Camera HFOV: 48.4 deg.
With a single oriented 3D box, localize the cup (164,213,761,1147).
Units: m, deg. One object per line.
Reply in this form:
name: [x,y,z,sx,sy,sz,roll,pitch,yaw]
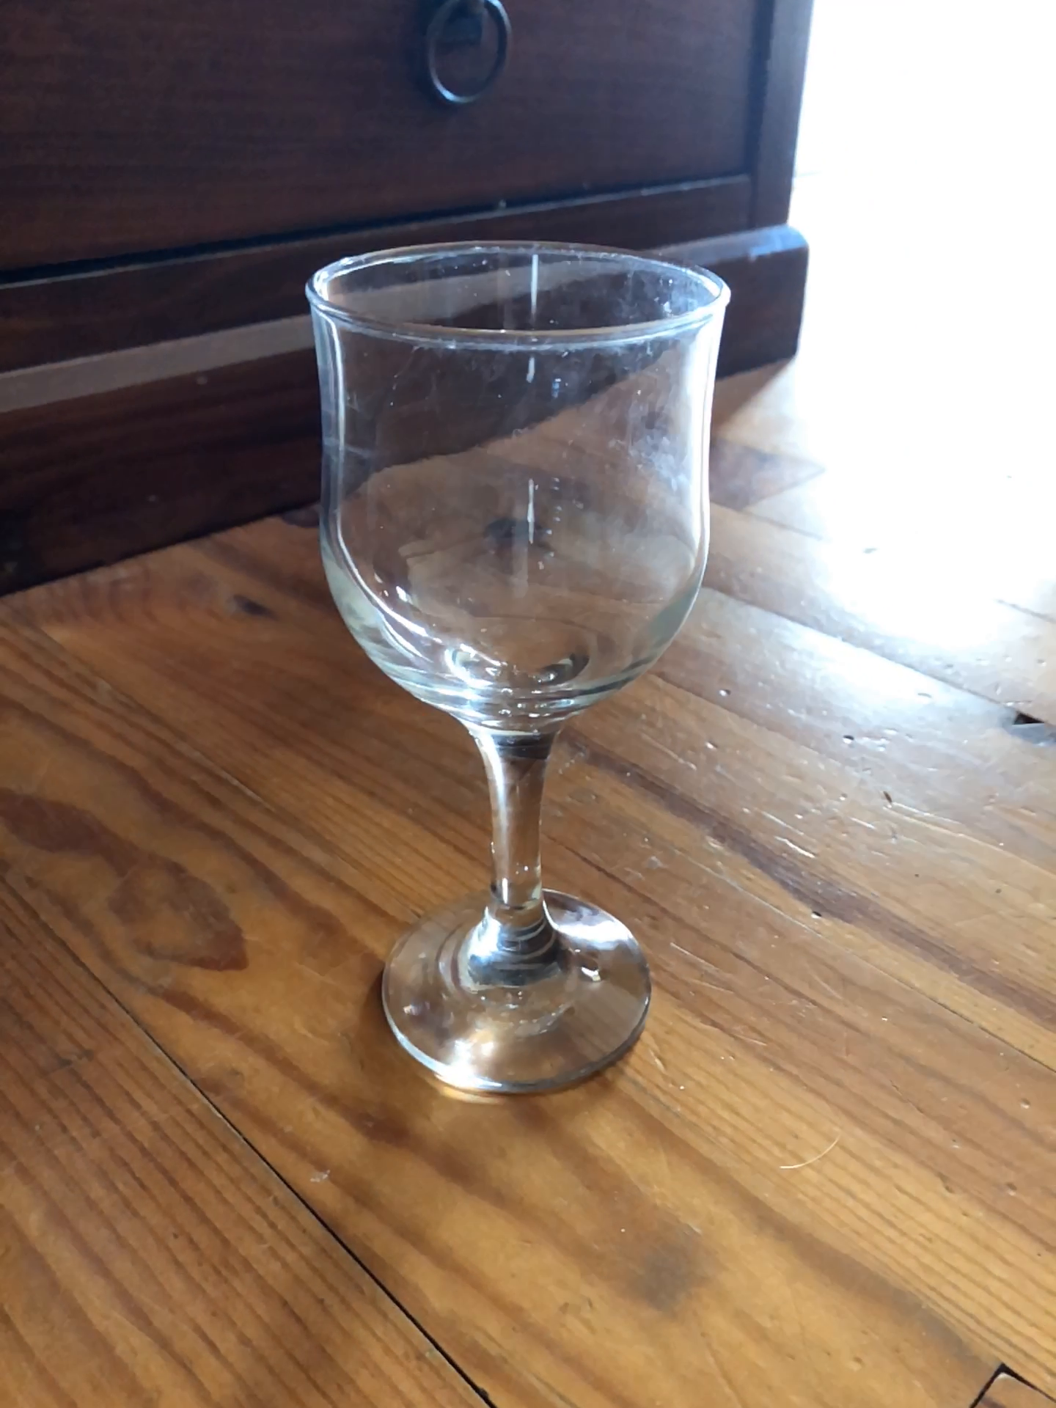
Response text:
cup: [-0.005,-0.006,0.235,0.076,0.157,0.083,0,31,0]
